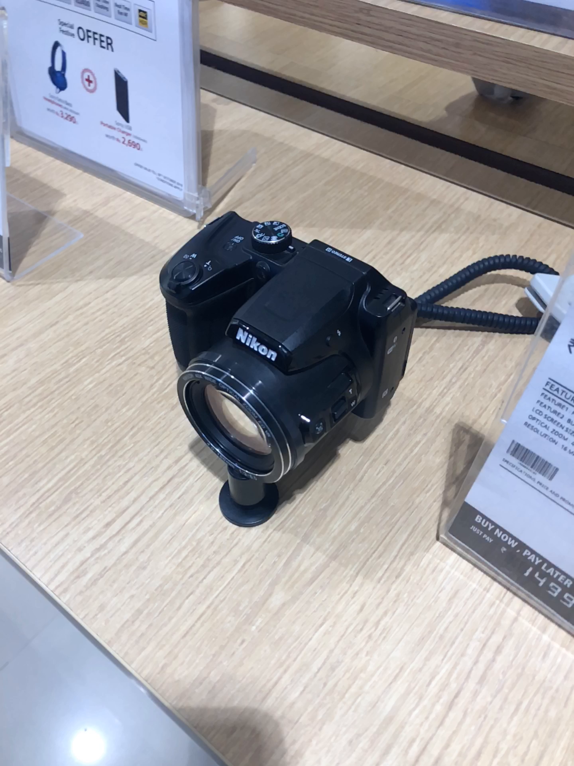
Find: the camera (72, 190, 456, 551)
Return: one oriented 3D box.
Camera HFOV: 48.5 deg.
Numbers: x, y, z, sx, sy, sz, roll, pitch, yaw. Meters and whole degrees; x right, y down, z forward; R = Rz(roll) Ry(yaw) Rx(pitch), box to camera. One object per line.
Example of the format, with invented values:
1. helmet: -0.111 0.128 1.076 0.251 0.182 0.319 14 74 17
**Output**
1. camera: -0.009 -0.012 0.274 0.120 0.070 0.090 32 57 26
